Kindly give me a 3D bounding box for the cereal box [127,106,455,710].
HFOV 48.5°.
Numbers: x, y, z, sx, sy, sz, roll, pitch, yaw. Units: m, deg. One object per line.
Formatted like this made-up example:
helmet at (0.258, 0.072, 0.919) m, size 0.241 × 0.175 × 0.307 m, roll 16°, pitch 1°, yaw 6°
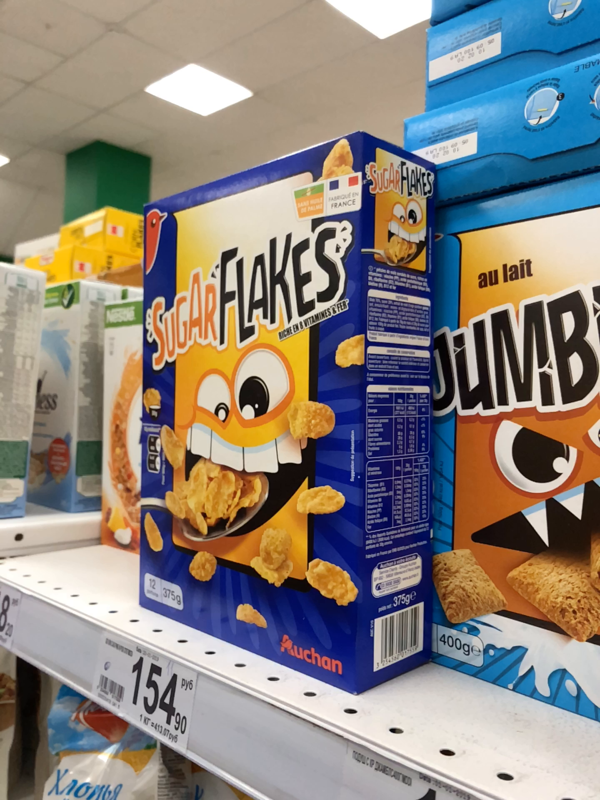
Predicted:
cereal box at (-0.016, 0.002, 0.403) m, size 0.200 × 0.280 × 0.070 m, roll 1°, pitch -1°, yaw 44°
